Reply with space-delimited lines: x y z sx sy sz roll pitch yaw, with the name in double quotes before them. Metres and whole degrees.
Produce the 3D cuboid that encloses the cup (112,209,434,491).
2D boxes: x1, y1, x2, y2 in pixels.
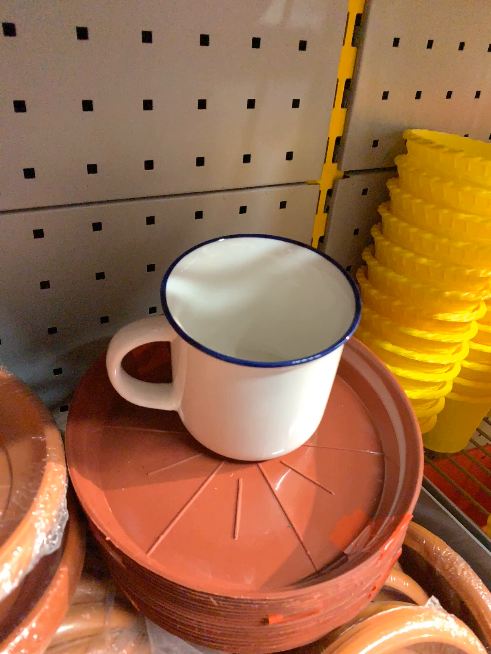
"cup" 0.002 0.007 0.250 0.120 0.090 0.090 -6 46 -16
